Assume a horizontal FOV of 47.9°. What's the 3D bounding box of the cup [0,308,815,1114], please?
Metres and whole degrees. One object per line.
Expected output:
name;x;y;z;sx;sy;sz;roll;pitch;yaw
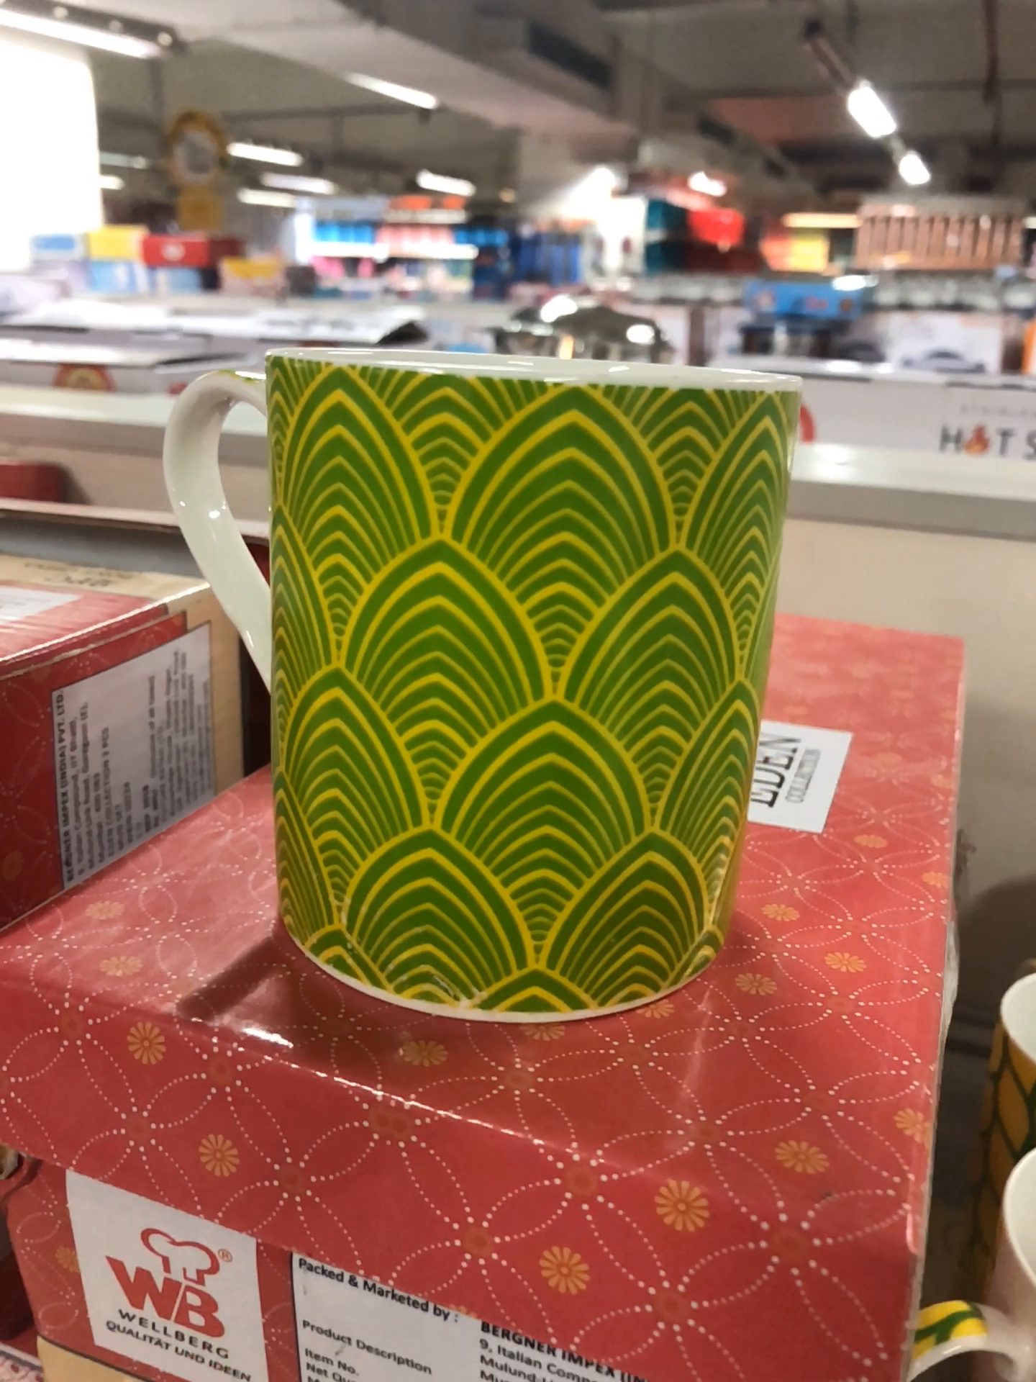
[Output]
cup;-0.012;-0.008;0.175;0.090;0.090;0.070;9;19;22
